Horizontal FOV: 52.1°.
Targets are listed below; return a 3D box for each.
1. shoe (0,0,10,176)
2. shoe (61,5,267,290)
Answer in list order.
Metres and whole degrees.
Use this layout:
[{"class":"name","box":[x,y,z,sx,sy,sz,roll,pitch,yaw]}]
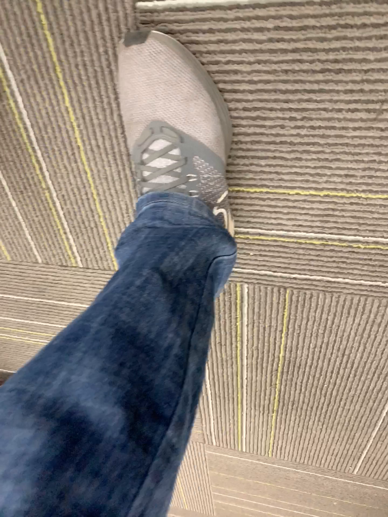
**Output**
[{"class":"shoe","box":[-0.390,-0.241,0.453,0.313,0.092,0.132,27,134,-8]},{"class":"shoe","box":[-0.010,-0.104,0.475,0.128,0.092,0.301,-5,130,22]}]
